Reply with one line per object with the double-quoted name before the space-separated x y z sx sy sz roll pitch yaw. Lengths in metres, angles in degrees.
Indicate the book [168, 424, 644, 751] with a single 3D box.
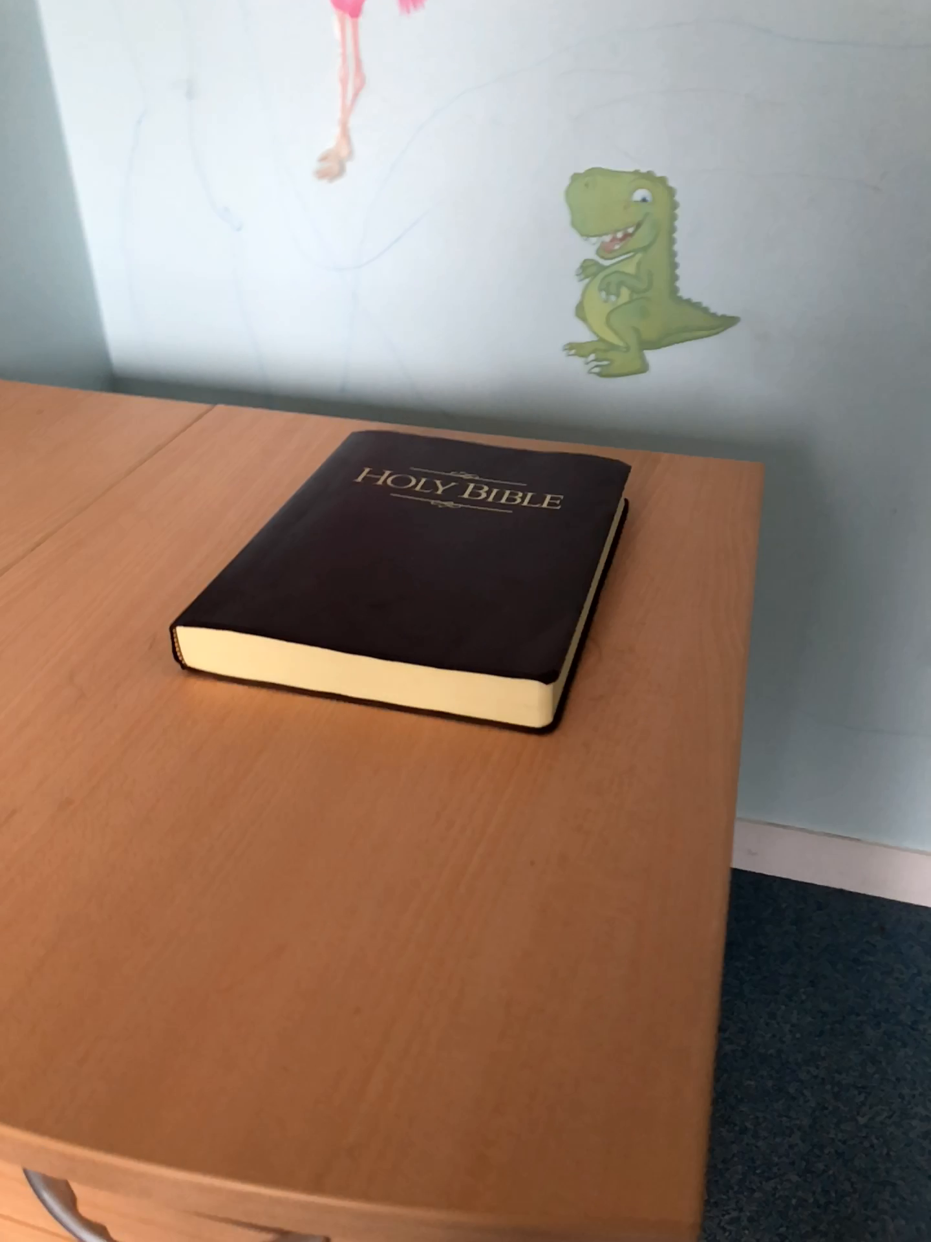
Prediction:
"book" -0.017 -0.042 0.655 0.223 0.040 0.282 9 35 13
